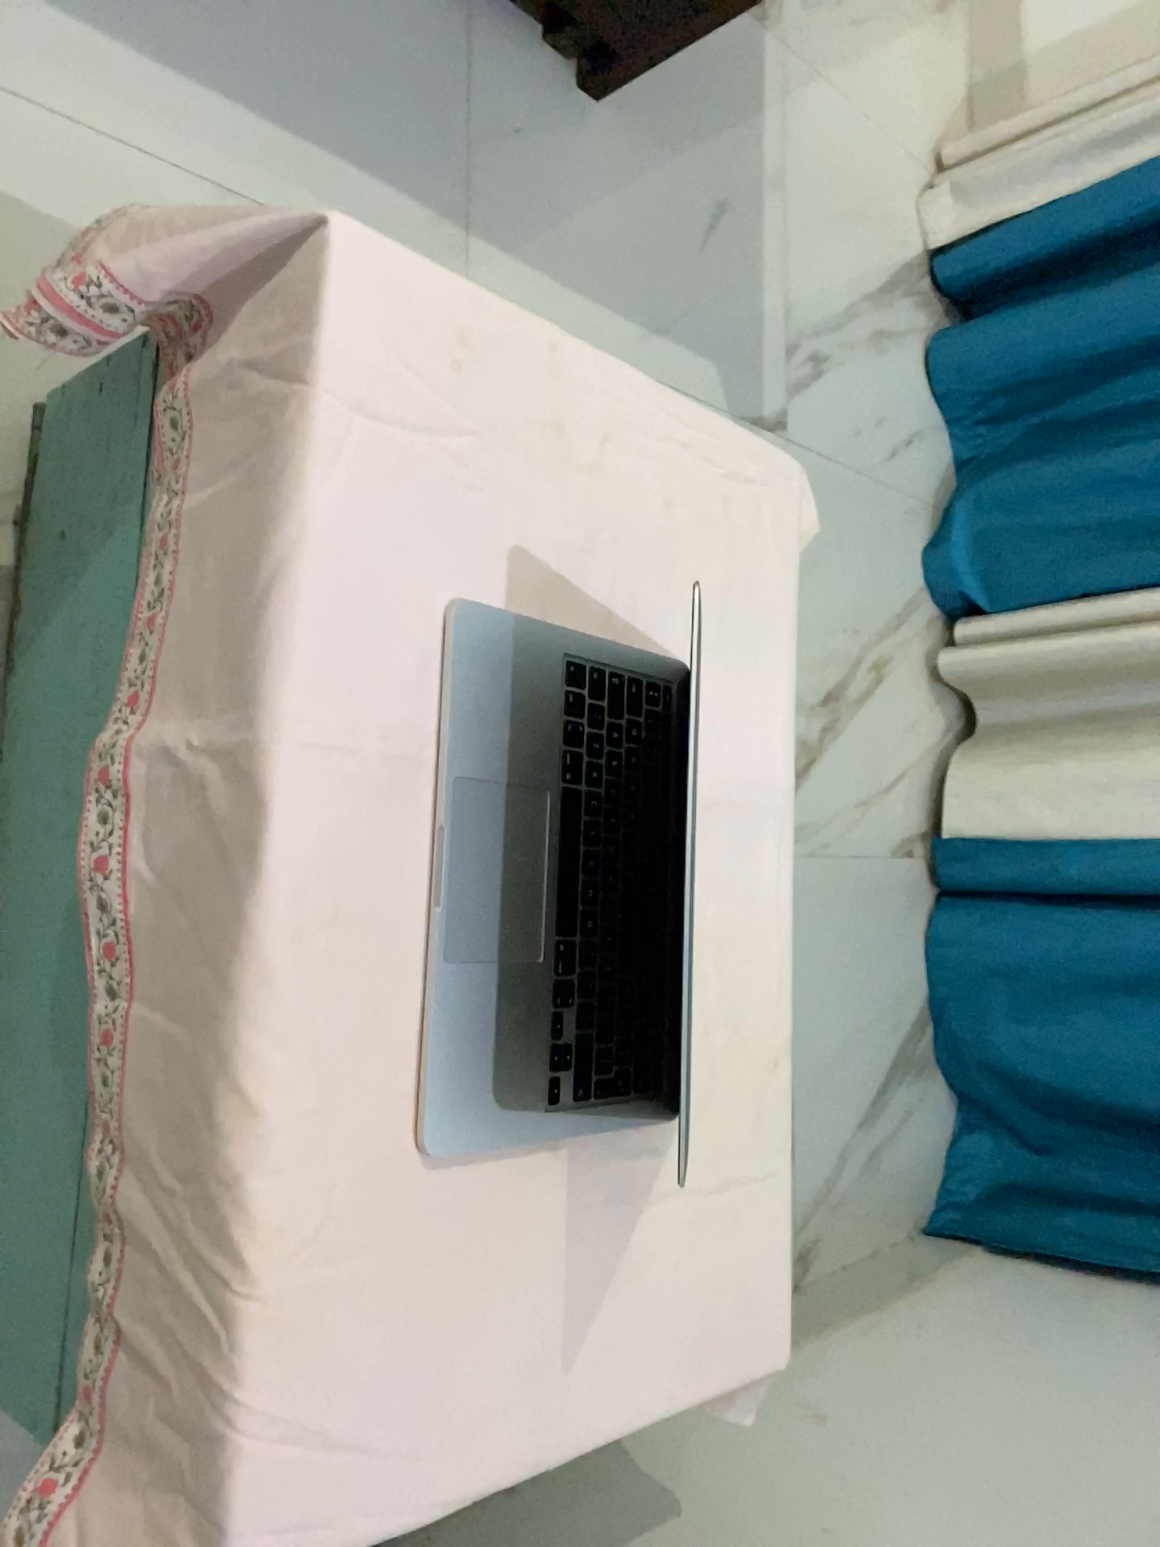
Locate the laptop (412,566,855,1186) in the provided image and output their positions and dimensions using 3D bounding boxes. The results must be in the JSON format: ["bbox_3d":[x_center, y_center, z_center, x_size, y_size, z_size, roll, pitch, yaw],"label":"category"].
[{"bbox_3d":[0.039,0.060,0.685,0.209,0.138,0.296,8,82,-44],"label":"laptop"}]
